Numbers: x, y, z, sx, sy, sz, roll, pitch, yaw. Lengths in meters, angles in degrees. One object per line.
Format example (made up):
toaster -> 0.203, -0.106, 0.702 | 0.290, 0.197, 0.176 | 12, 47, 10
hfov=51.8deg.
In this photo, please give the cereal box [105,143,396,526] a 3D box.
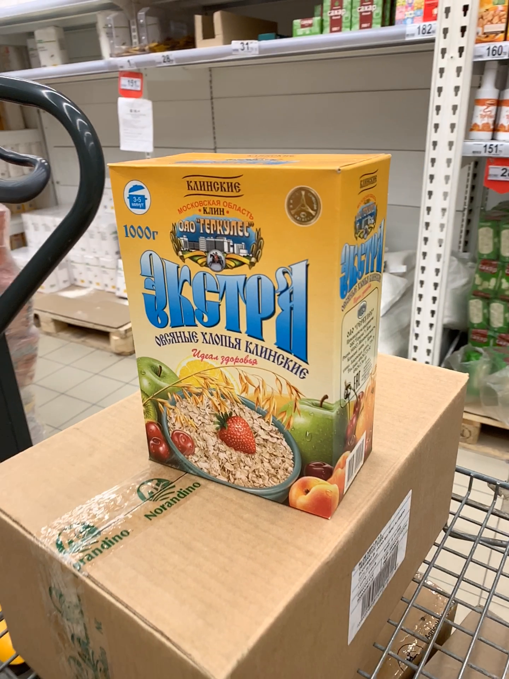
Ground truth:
cereal box -> 0.003, -0.013, 0.386 | 0.160, 0.239, 0.100 | 10, 27, 26
